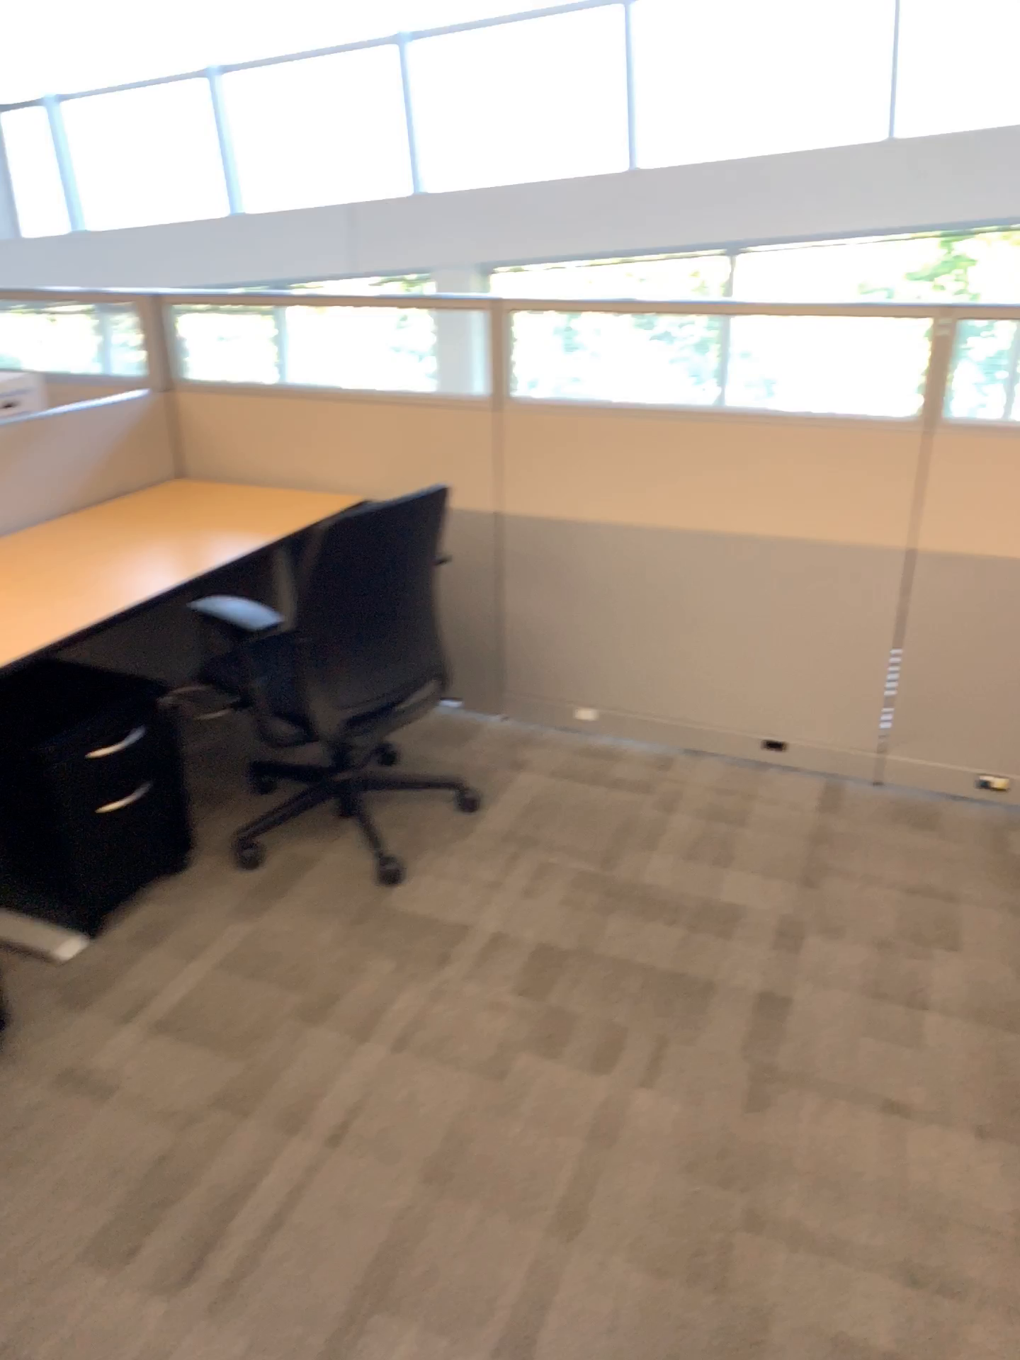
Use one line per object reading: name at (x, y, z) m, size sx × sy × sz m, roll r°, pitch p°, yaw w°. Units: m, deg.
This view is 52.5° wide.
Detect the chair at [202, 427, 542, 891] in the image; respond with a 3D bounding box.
chair at (-0.428, -0.127, 3.466) m, size 0.751 × 1.233 × 0.763 m, roll -21°, pitch 30°, yaw -38°
